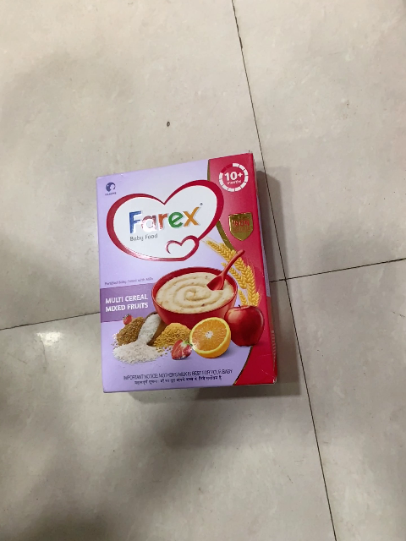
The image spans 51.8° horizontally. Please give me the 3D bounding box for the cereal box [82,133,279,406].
[{"bbox_3d":[-0.020,0.002,0.369,0.150,0.060,0.210,-6,81,10],"label":"cereal box"}]
